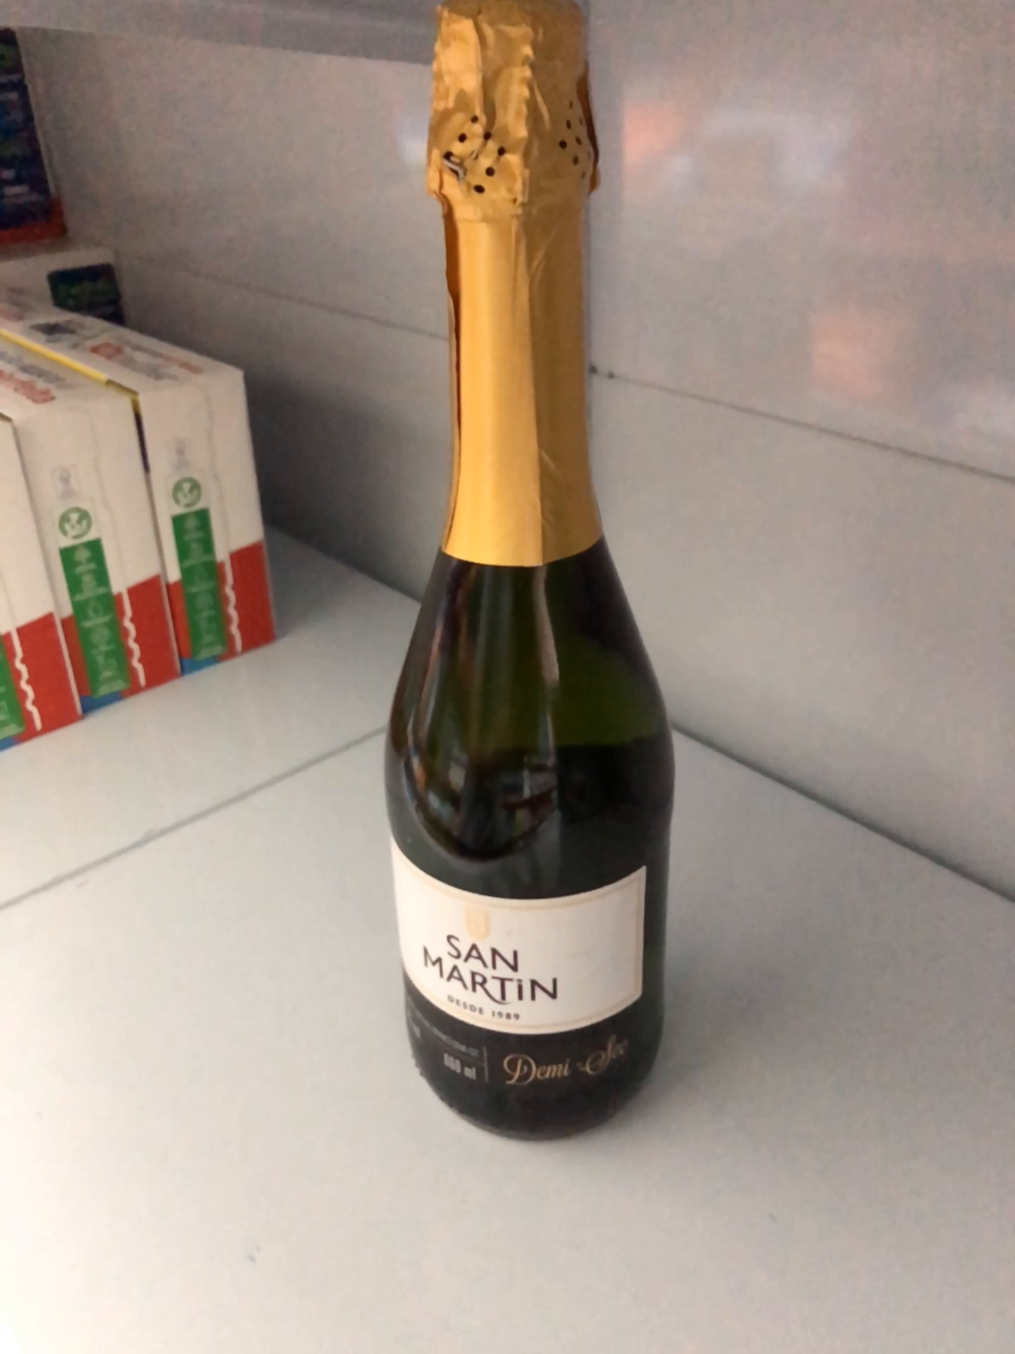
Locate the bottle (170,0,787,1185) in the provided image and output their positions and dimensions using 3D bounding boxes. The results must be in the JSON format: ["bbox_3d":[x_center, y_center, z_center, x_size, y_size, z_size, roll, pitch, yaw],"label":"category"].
[{"bbox_3d":[0.005,-0.019,0.287,0.090,0.308,0.081,10,32,22],"label":"bottle"}]
